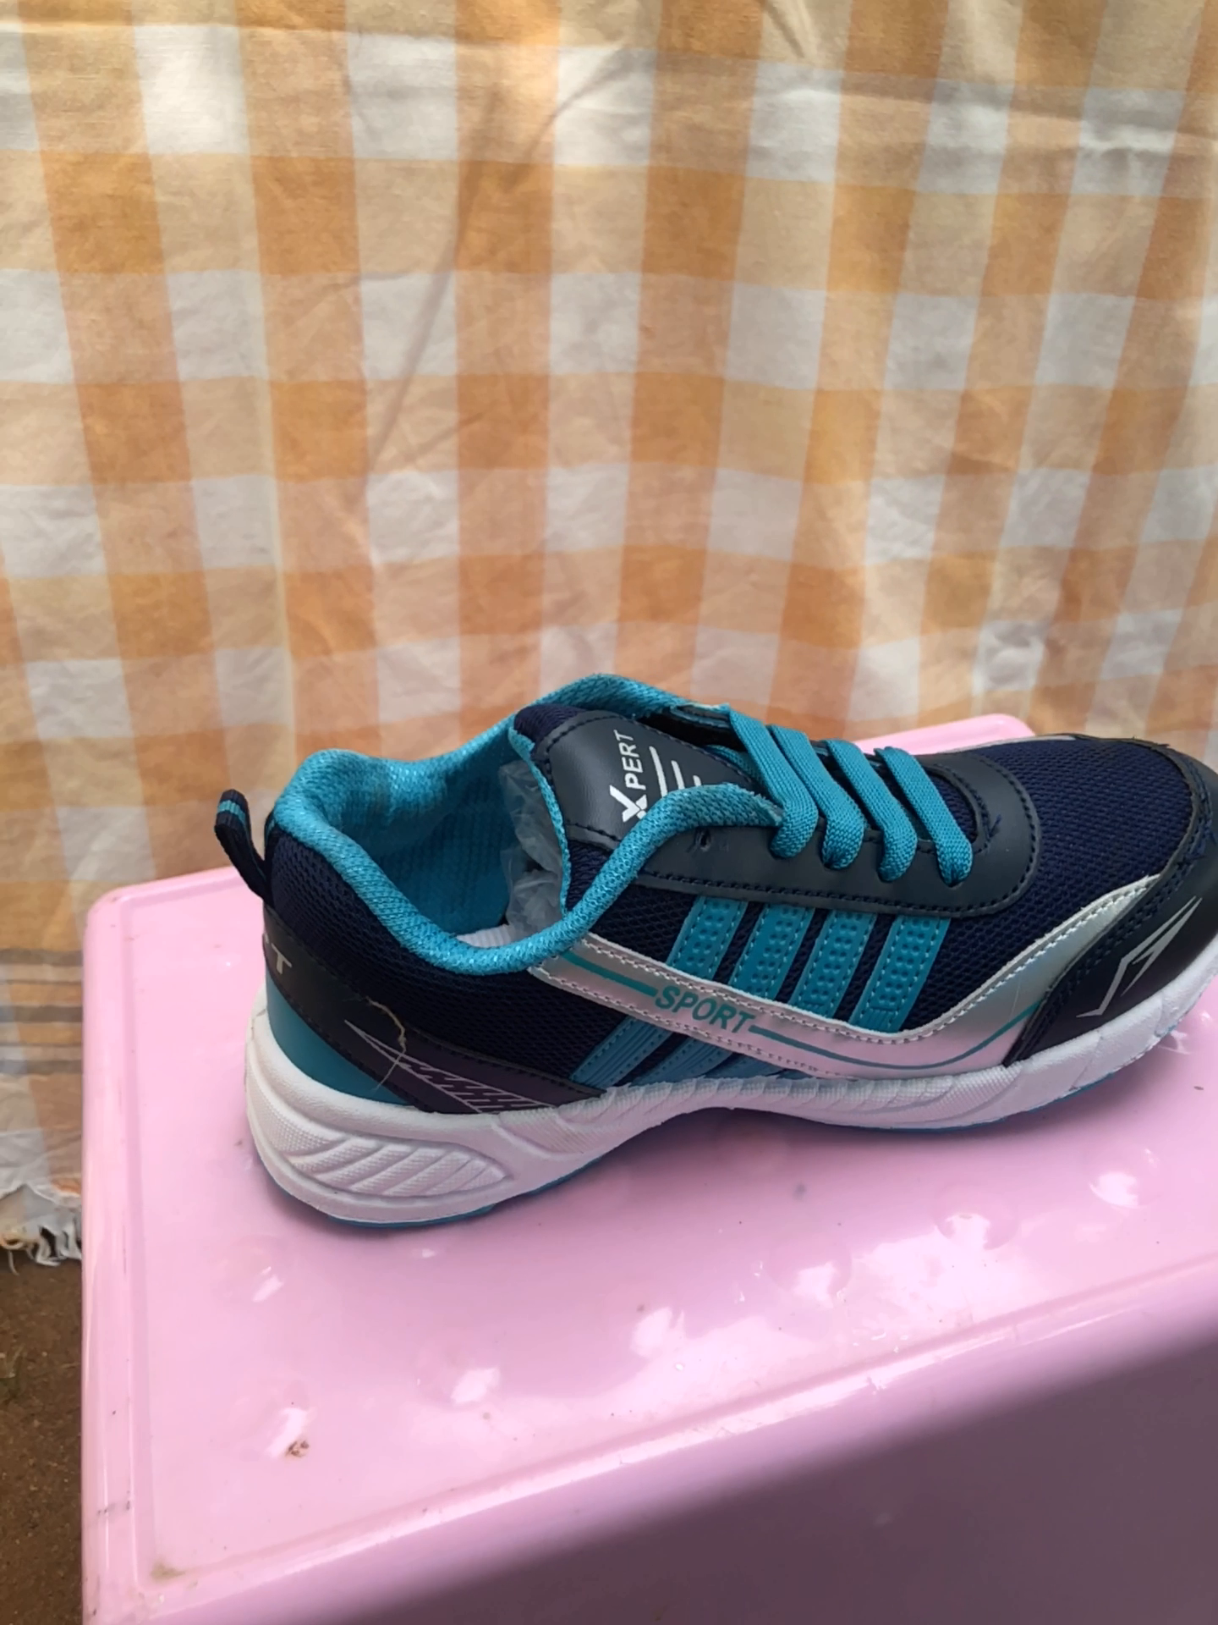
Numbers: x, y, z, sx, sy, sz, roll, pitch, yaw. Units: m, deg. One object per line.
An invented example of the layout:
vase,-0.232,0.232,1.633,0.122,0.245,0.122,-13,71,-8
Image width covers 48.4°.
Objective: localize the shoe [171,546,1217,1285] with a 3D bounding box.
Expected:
shoe,0.036,0.016,0.351,0.270,0.109,0.110,-7,38,-12
